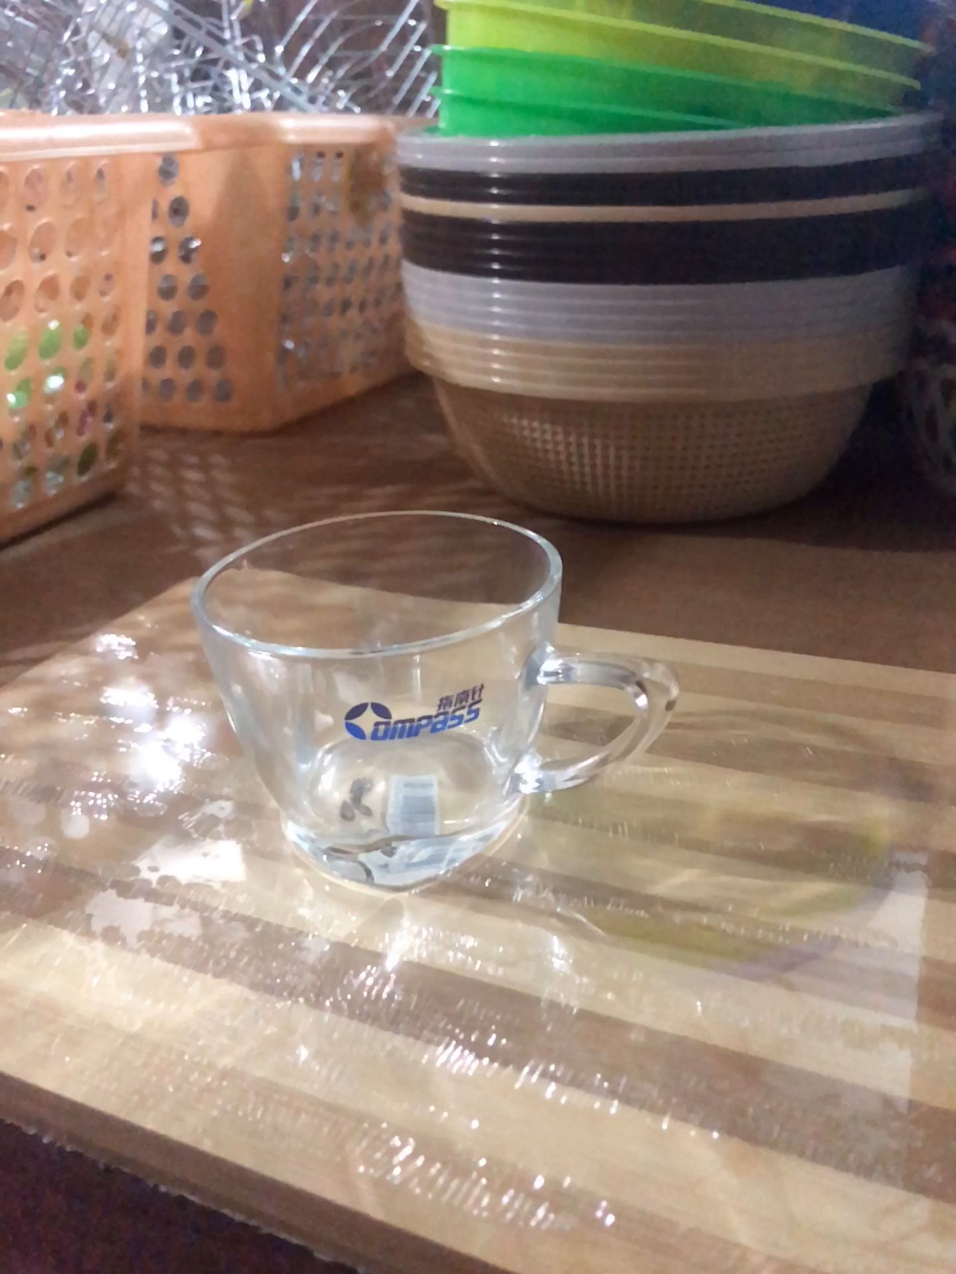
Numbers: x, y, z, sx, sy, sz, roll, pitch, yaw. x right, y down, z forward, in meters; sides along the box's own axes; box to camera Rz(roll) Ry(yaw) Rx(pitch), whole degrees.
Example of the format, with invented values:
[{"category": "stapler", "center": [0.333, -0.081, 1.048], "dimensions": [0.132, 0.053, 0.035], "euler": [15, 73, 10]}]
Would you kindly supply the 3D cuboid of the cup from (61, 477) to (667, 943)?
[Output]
[{"category": "cup", "center": [-0.022, 0.008, 0.241], "dimensions": [0.110, 0.060, 0.070], "euler": [11, 29, 28]}]
